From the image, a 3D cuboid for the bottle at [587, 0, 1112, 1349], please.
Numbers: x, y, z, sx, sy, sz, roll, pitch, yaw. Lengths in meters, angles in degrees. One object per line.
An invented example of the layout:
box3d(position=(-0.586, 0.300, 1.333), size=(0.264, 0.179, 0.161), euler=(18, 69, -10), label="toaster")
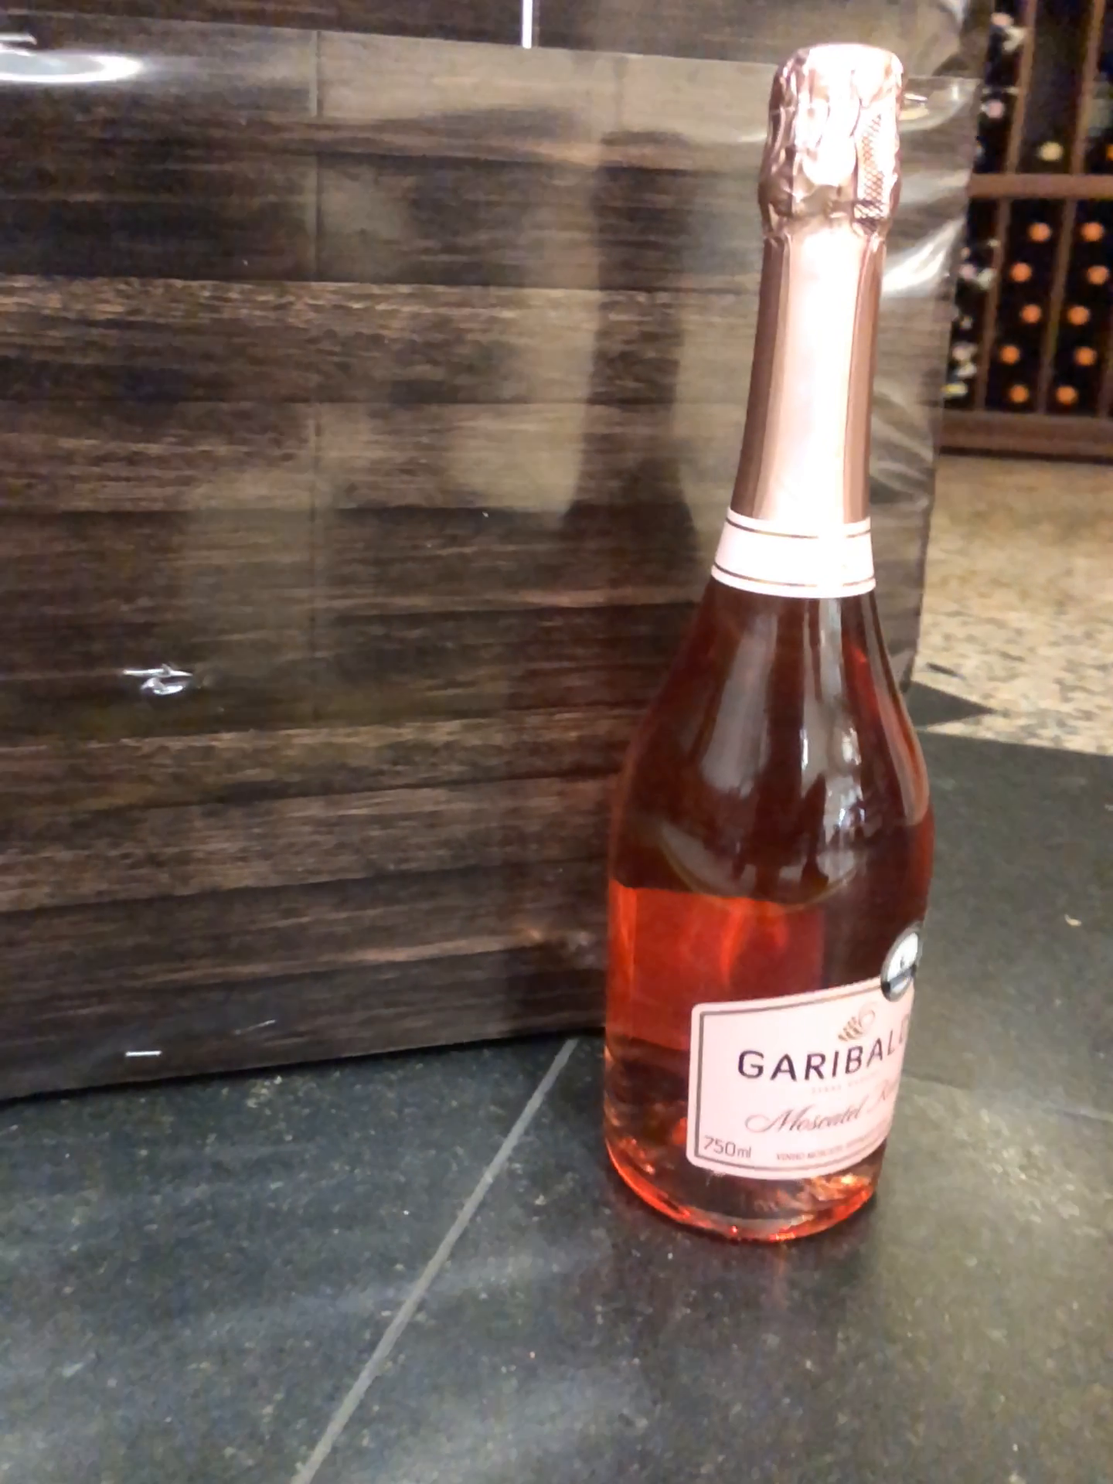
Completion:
box3d(position=(0.084, -0.019, 0.343), size=(0.110, 0.338, 0.100), euler=(1, 19, 0), label="bottle")
